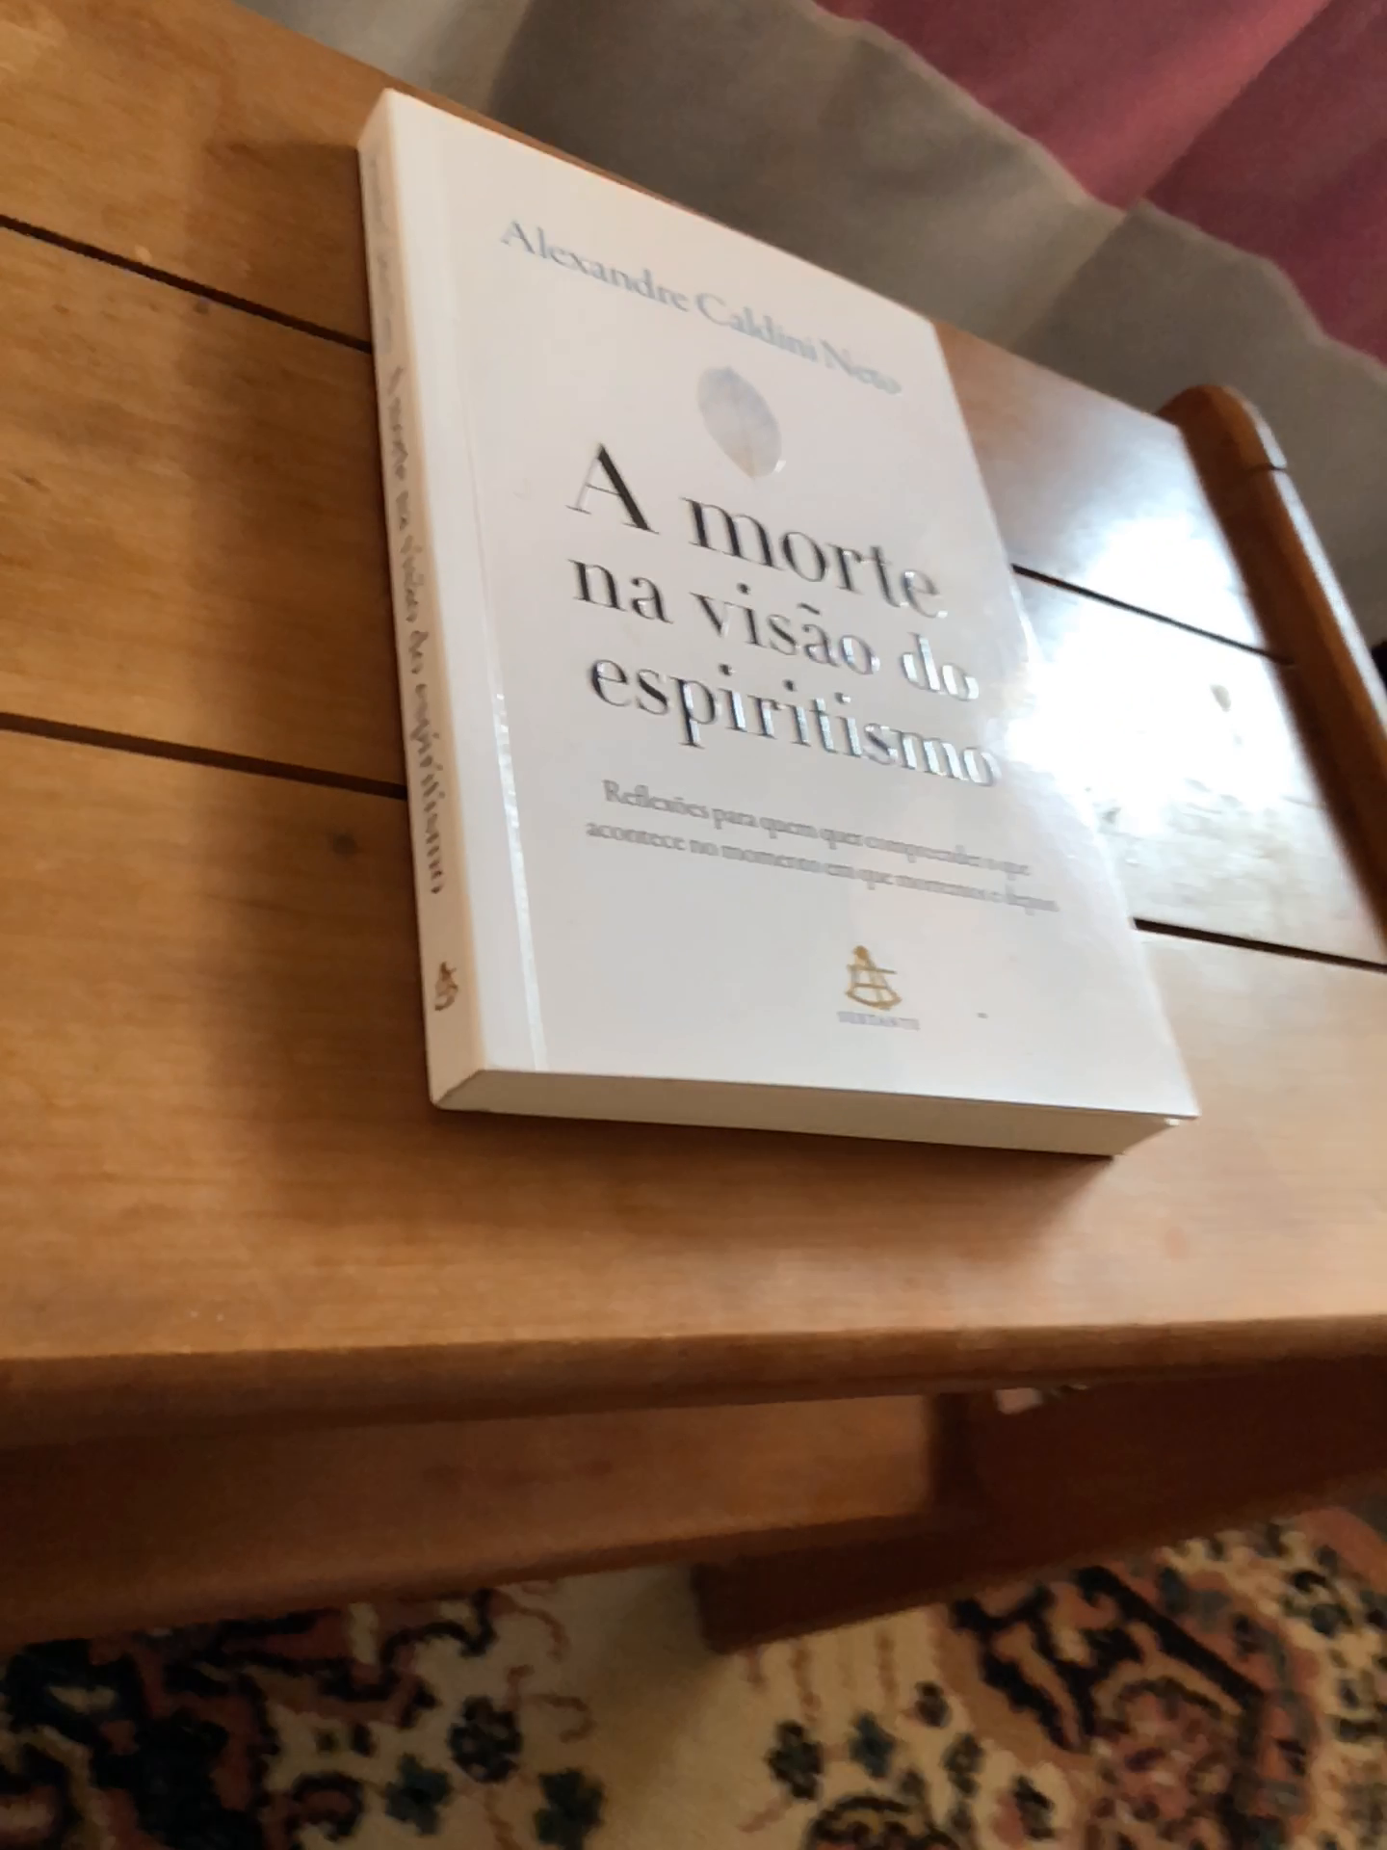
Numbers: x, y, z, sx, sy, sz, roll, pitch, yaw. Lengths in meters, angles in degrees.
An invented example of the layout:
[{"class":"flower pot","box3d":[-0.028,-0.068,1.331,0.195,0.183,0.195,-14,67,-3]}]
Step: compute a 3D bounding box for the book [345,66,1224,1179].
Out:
[{"class":"book","box3d":[0.011,-0.054,0.274,0.136,0.020,0.197,9,57,-32]}]
